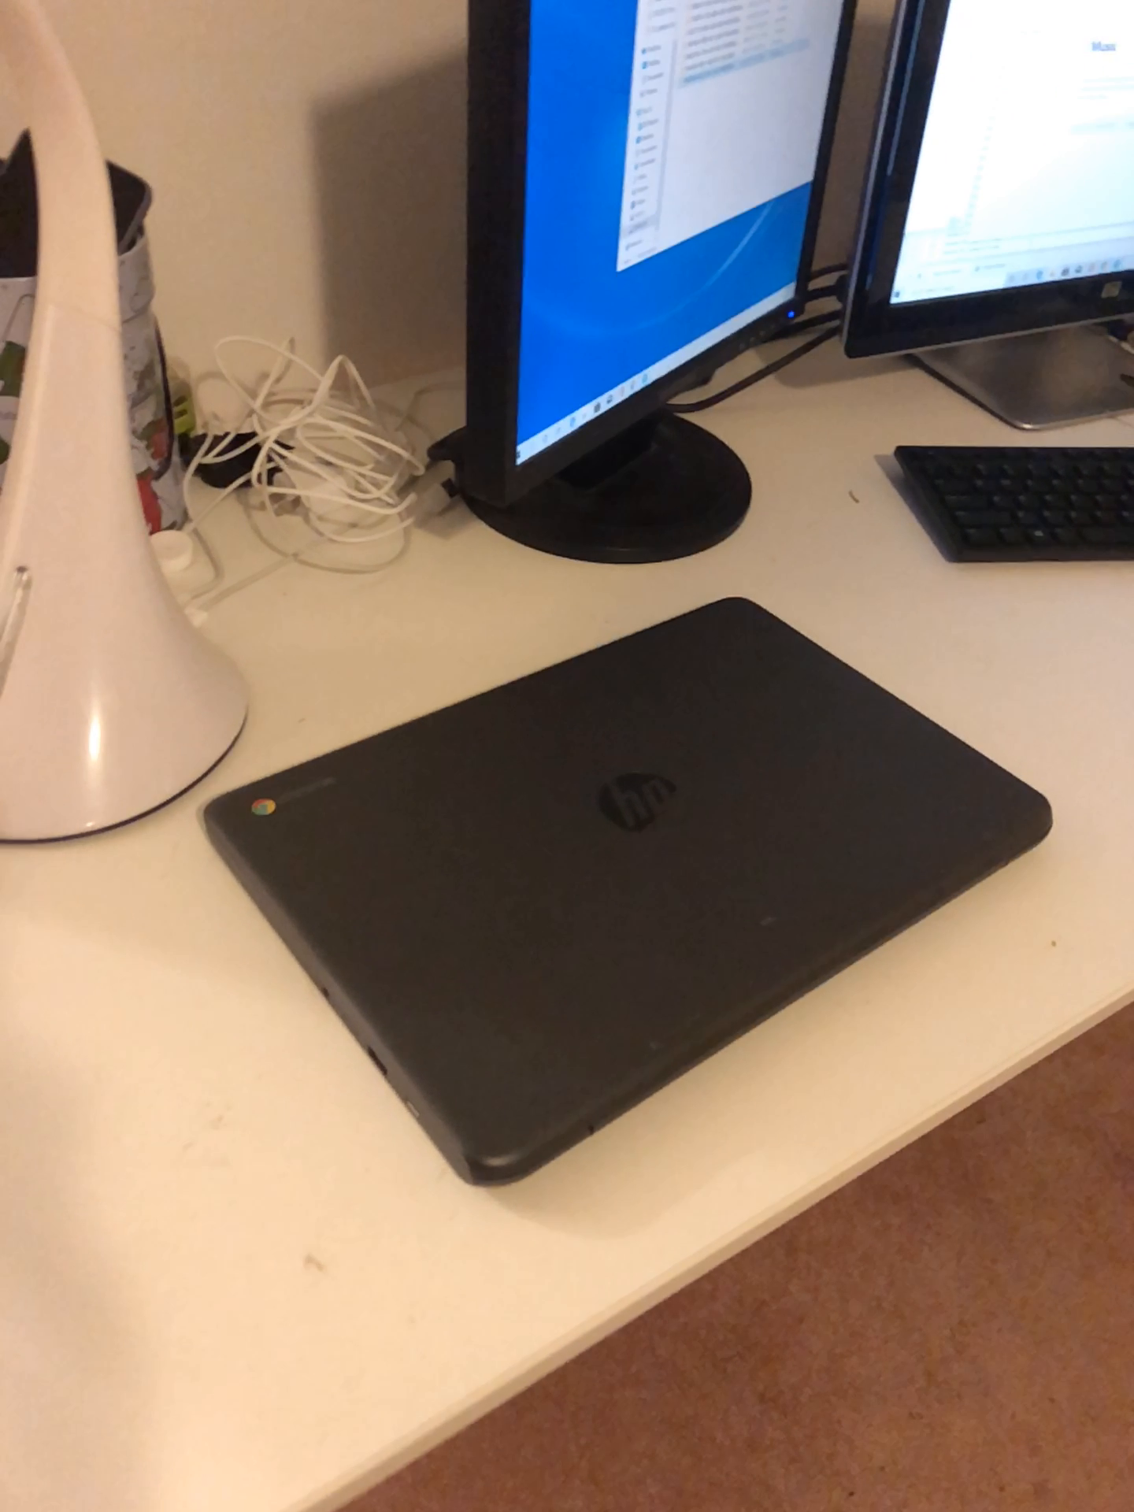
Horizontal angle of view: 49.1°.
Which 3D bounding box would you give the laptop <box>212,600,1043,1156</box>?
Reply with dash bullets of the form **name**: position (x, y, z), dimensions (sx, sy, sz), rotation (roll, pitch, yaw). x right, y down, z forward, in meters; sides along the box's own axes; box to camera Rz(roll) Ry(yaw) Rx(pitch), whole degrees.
- **laptop**: position (0.036, 0.024, 0.572), dimensions (0.326, 0.001, 0.209), rotation (-24, 49, -31)
